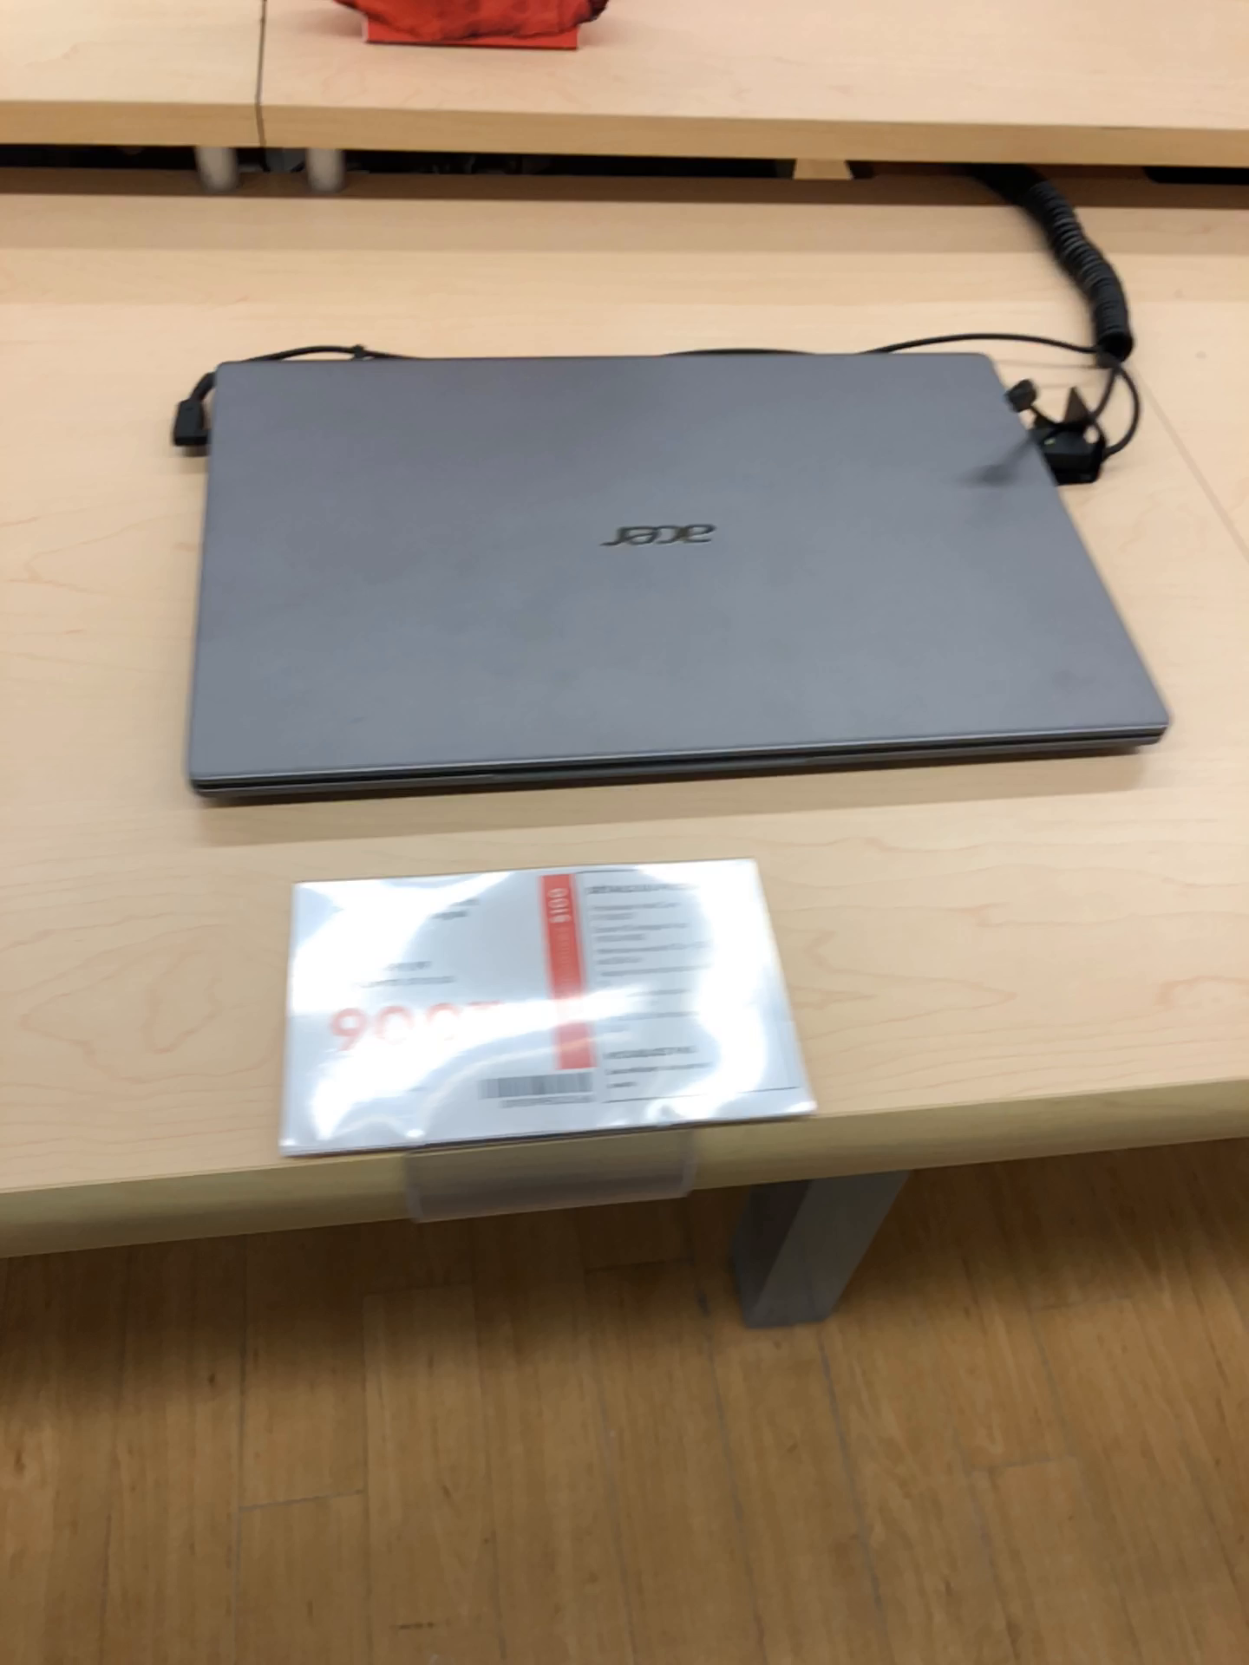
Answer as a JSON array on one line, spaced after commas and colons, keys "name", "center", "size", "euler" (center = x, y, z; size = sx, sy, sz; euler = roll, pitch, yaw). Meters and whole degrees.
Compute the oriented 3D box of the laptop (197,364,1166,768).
[{"name": "laptop", "center": [0.012, -0.106, 0.490], "size": [0.306, 0.001, 0.201], "euler": [-3, 53, -8]}]
